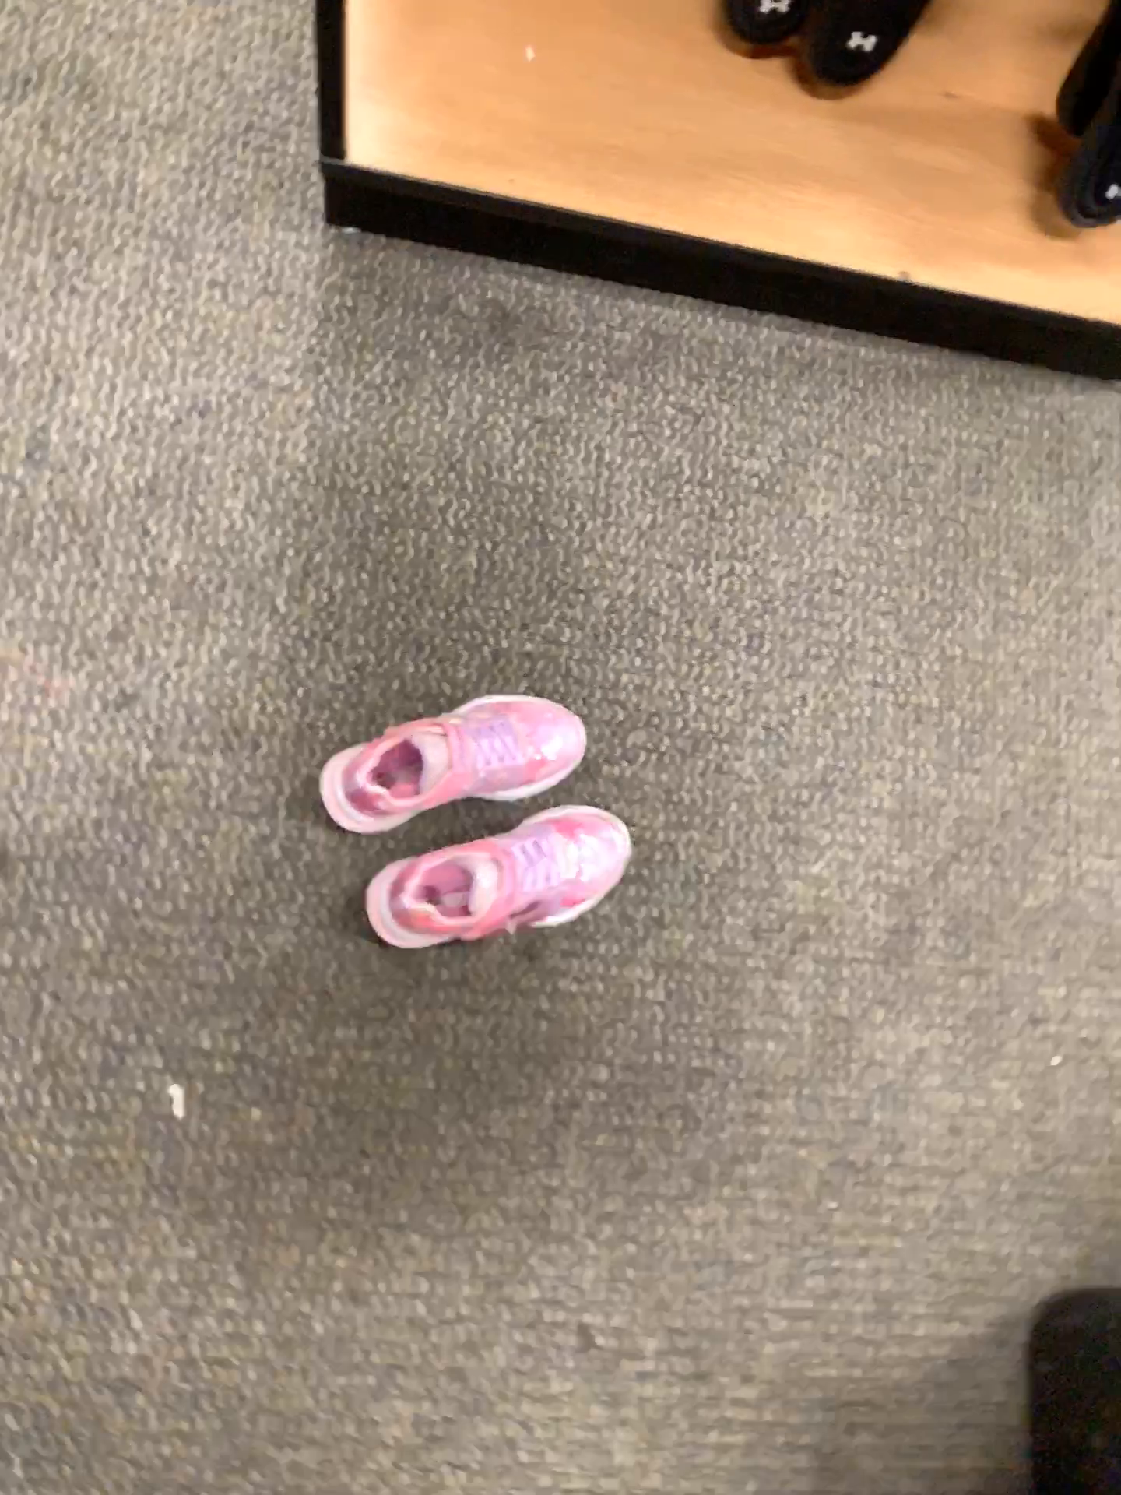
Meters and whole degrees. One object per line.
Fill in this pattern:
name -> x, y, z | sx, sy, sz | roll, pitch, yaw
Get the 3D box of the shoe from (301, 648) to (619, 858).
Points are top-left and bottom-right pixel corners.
shoe -> -0.076, 0.007, 0.823 | 0.200, 0.110, 0.086 | -15, 83, -13

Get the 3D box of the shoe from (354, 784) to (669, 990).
shoe -> -0.041, 0.102, 0.828 | 0.200, 0.110, 0.086 | -15, 83, -13
